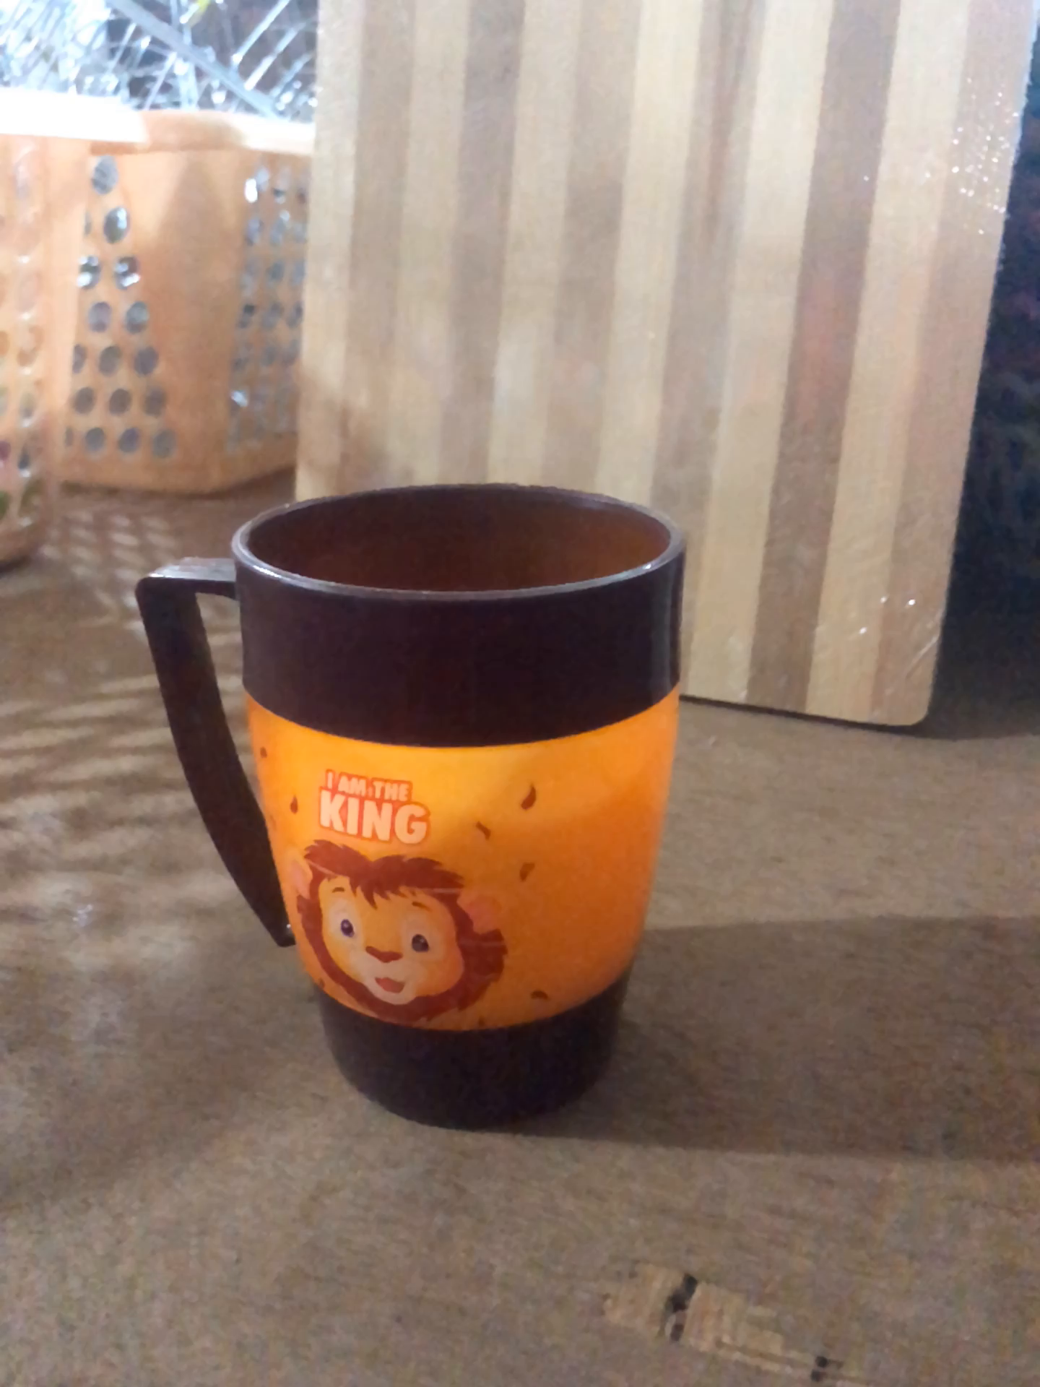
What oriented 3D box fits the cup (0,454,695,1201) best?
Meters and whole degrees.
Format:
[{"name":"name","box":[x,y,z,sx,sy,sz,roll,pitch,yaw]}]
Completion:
[{"name":"cup","box":[-0.029,0.014,0.195,0.100,0.090,0.060,9,24,22]}]
